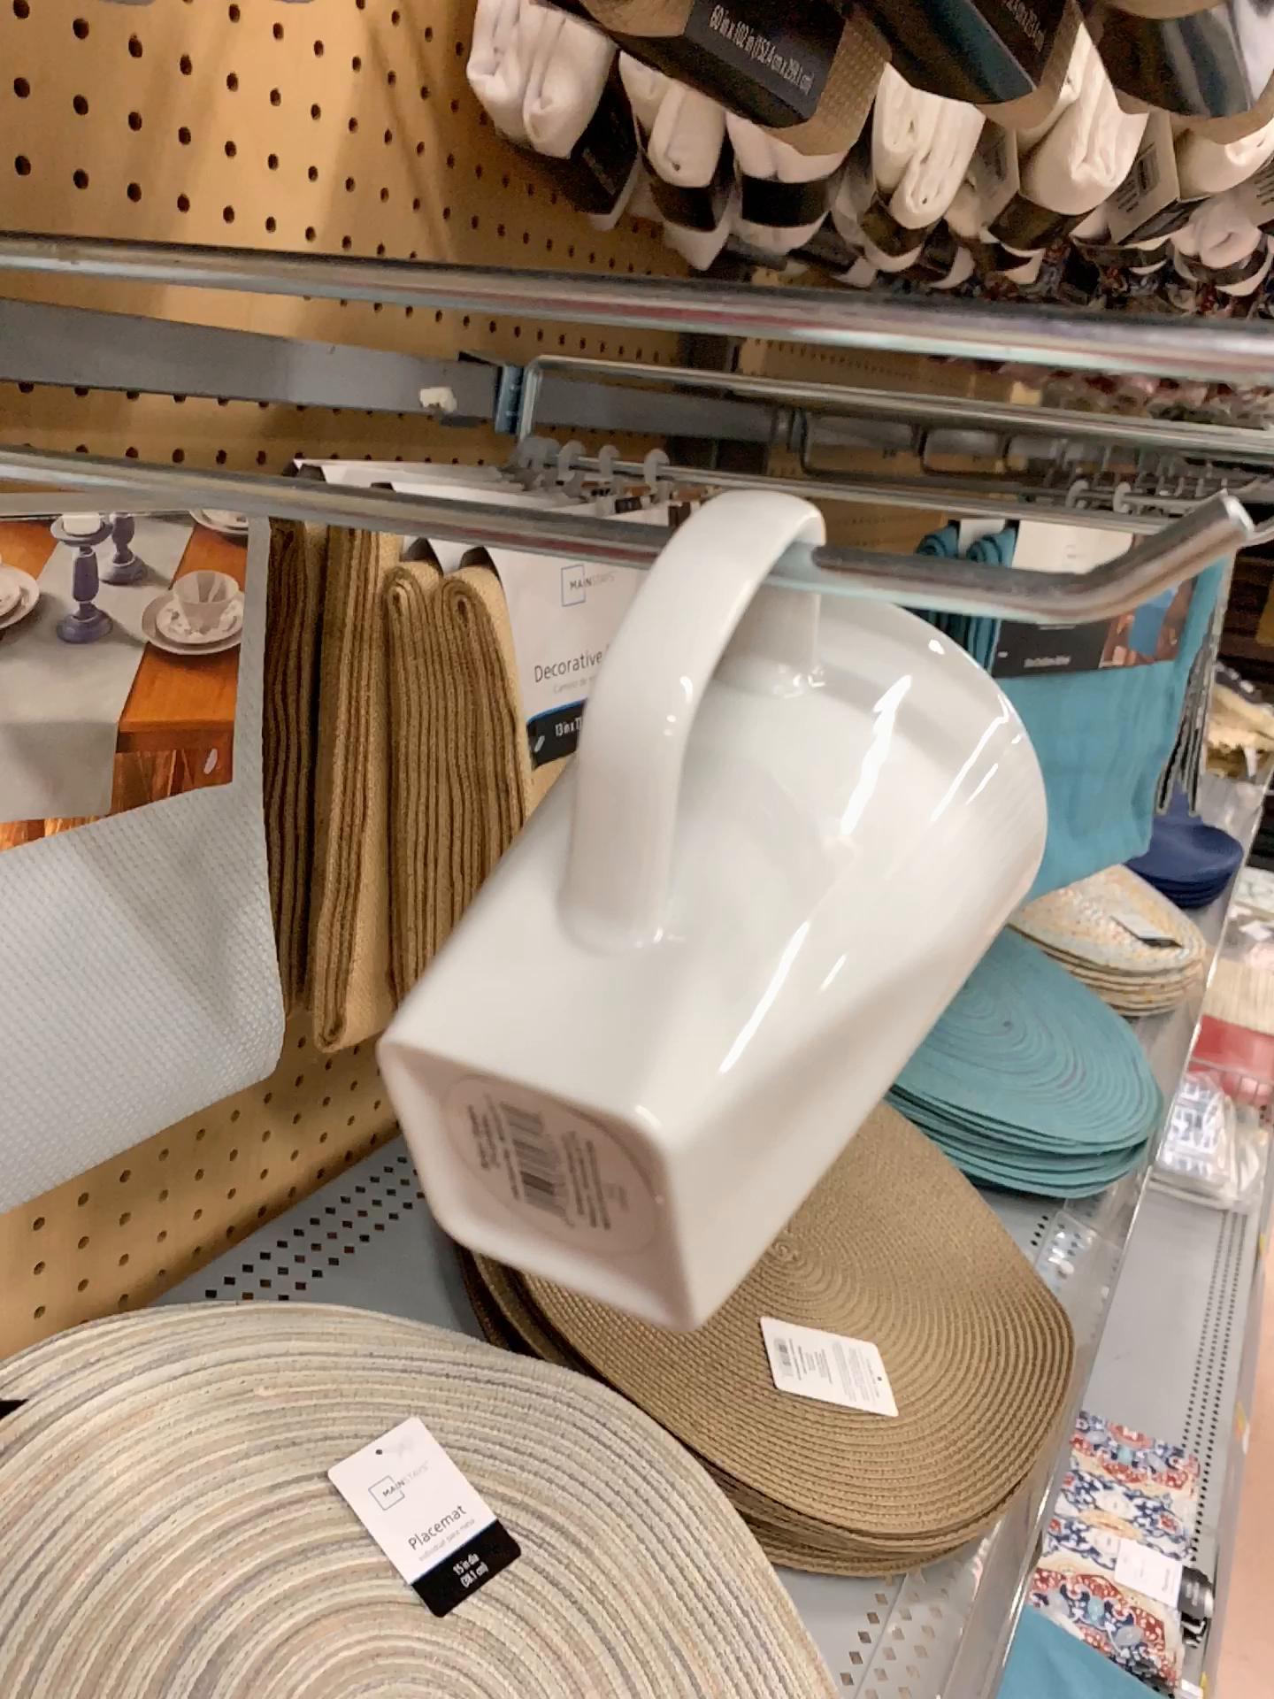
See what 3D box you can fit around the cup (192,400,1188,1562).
[{"bbox_3d":[0.019,0.005,0.224,0.090,0.119,0.141,19,36,25],"label":"cup"}]
